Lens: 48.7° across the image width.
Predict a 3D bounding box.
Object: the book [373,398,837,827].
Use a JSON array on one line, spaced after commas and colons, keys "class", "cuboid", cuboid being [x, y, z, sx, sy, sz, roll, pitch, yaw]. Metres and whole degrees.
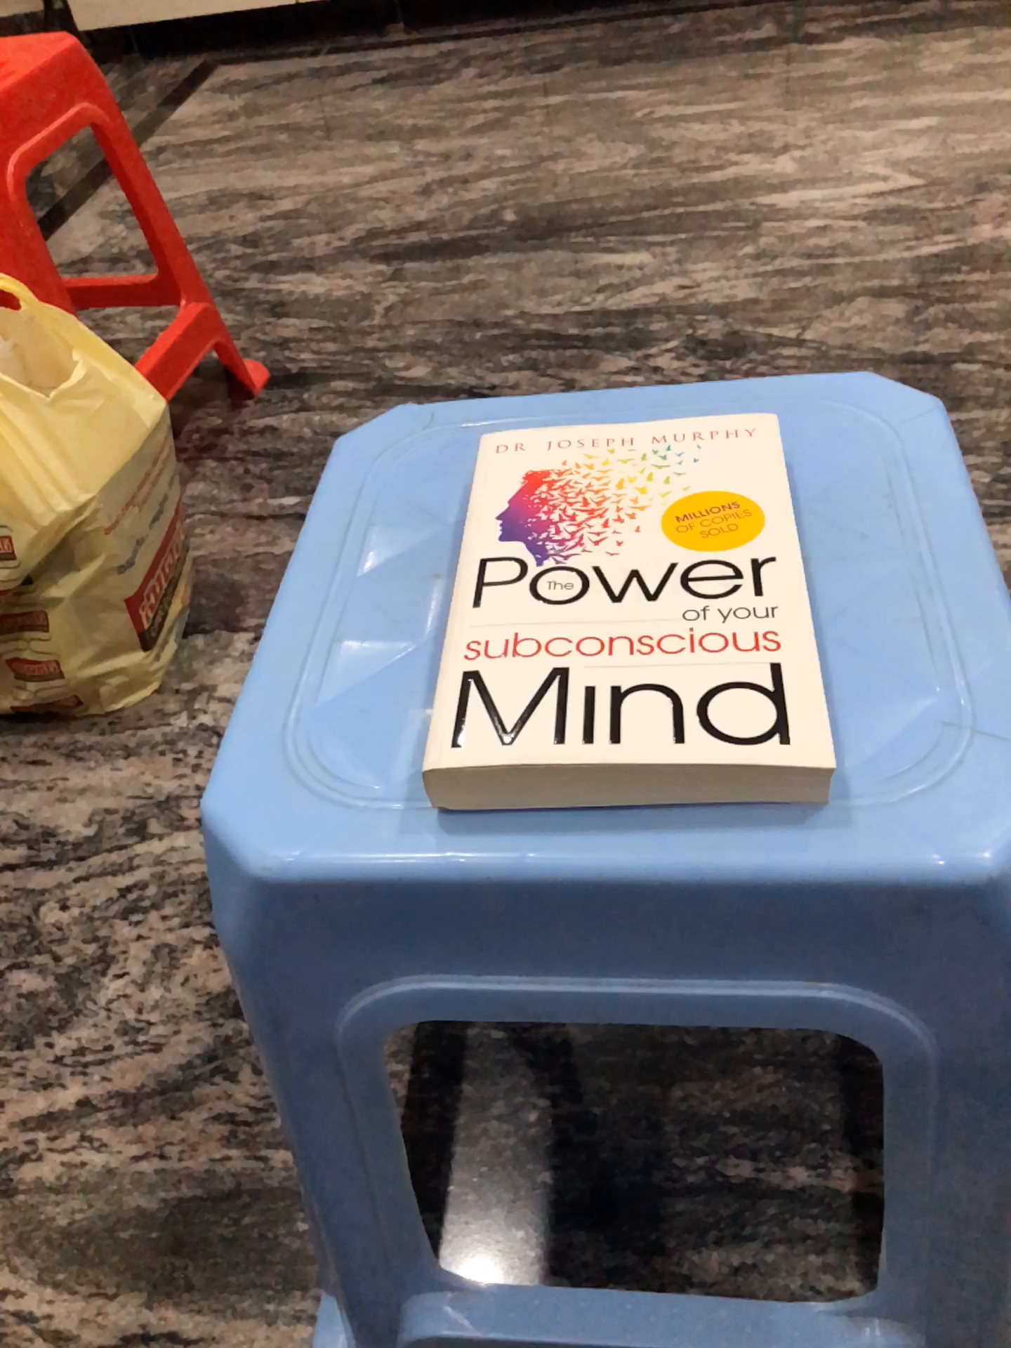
[{"class": "book", "cuboid": [0.037, -0.033, 0.419, 0.140, 0.030, 0.201, -3, 43, 8]}]
